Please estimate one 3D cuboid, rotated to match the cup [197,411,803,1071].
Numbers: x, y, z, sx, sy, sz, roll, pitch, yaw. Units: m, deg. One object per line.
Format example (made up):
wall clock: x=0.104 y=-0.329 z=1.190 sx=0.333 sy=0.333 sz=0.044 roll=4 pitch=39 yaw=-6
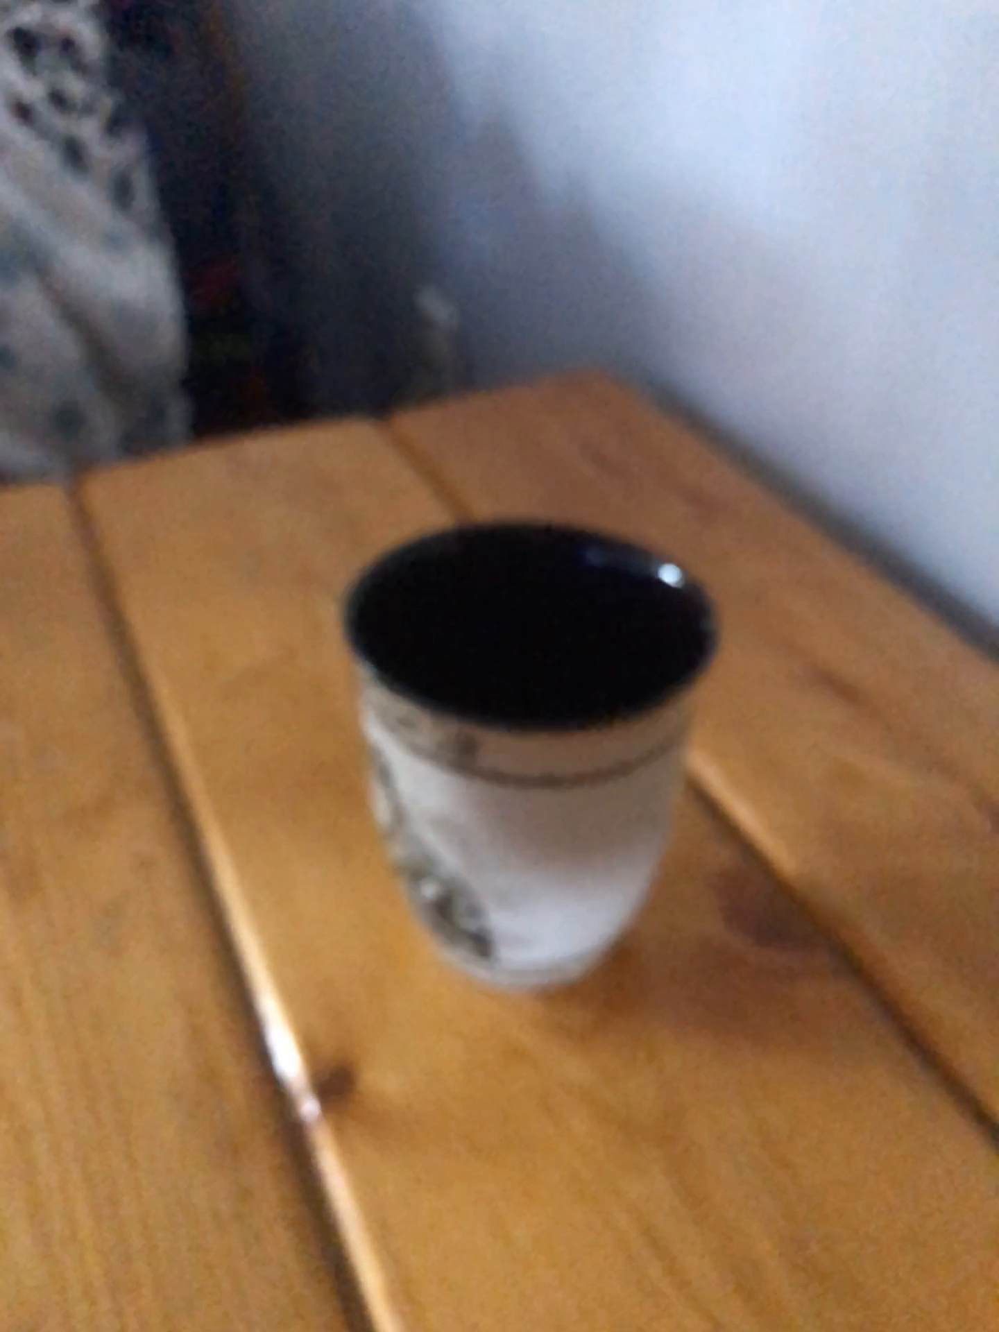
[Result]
cup: x=-0.006 y=0.010 z=0.332 sx=0.100 sy=0.100 sz=0.140 roll=-20 pitch=41 yaw=-23
